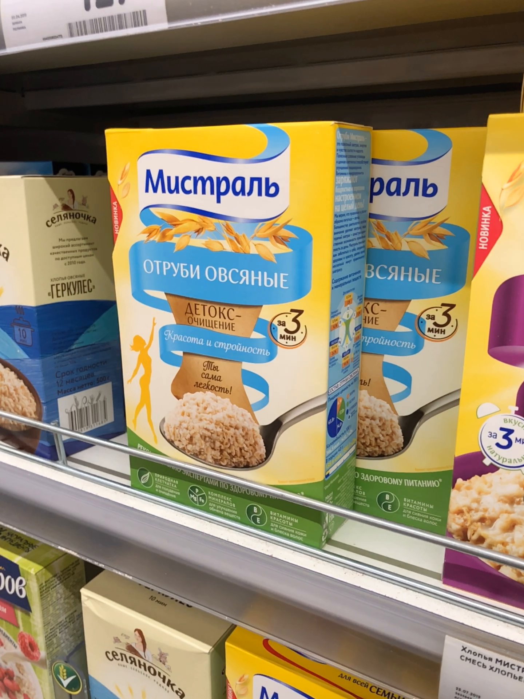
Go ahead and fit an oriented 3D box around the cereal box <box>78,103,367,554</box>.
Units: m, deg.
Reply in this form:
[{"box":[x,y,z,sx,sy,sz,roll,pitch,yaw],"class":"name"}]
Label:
[{"box":[-0.022,-0.014,0.317,0.140,0.209,0.050,9,19,30],"class":"cereal box"}]
